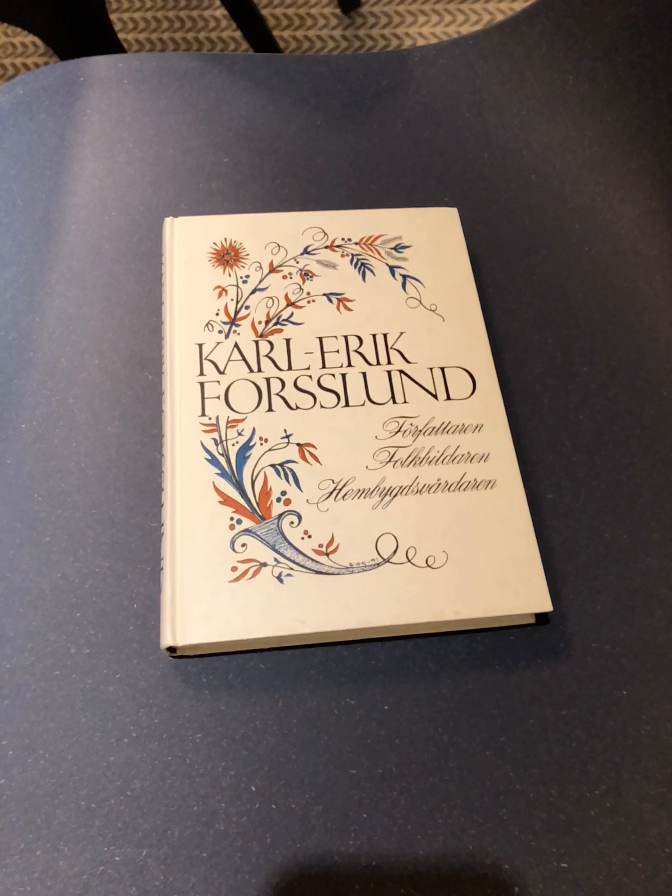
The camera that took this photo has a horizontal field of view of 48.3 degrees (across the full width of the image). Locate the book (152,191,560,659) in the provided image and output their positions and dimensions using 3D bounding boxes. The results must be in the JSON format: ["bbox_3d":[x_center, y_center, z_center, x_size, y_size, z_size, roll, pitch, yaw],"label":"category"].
[{"bbox_3d":[-0.002,-0.026,0.364,0.164,0.028,0.233,-4,63,-5],"label":"book"}]
